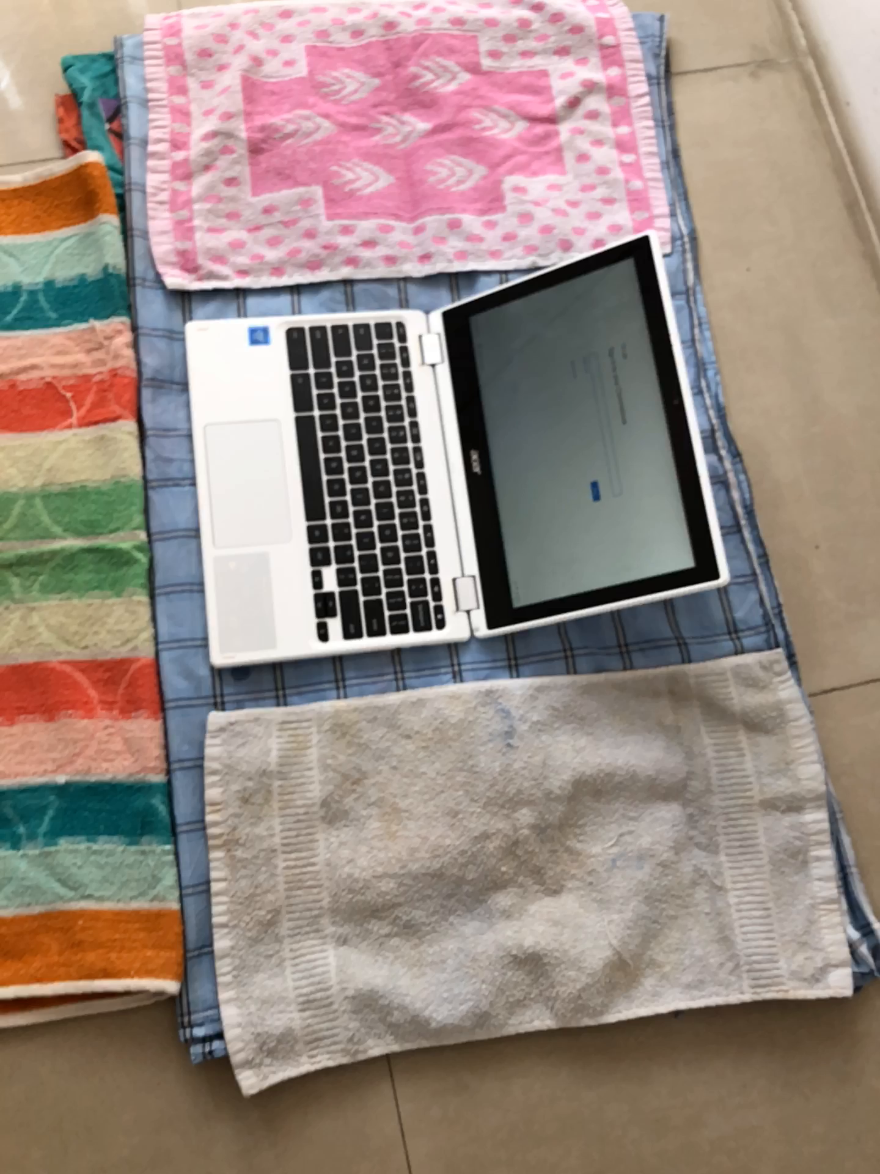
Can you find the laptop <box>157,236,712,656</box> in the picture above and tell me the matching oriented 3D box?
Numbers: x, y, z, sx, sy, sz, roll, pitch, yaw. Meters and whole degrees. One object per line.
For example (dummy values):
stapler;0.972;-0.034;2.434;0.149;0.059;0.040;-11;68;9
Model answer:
laptop;-0.008;-0.113;0.757;0.367;0.101;0.286;-5;76;-9
